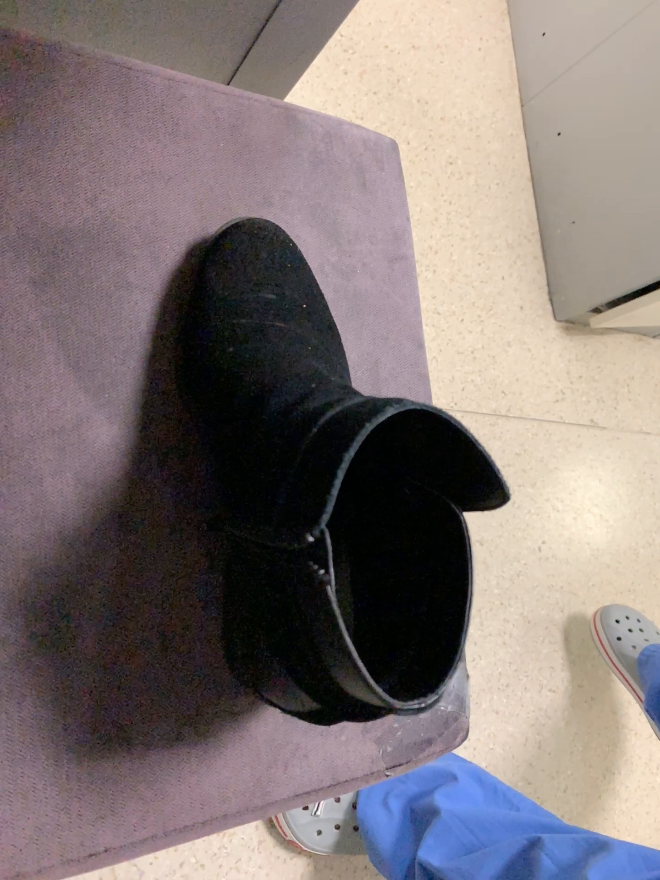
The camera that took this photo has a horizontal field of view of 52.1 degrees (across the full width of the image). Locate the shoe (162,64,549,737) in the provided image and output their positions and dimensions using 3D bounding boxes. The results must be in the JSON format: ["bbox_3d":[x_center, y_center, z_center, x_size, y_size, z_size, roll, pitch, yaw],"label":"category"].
[{"bbox_3d":[-0.004,-0.009,0.311,0.101,0.137,0.235,2,77,-31],"label":"shoe"}]
